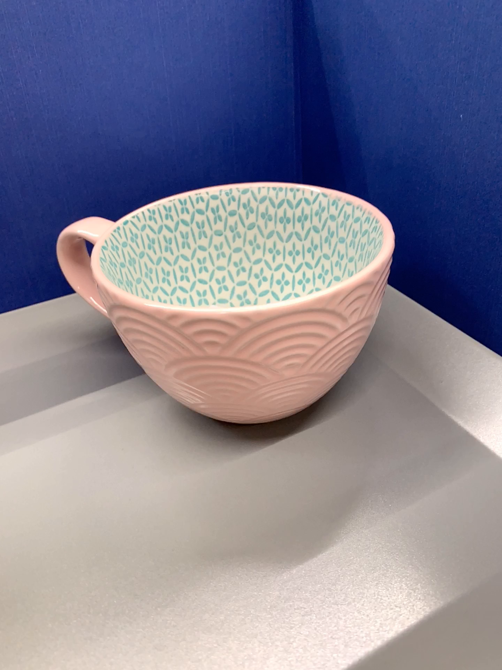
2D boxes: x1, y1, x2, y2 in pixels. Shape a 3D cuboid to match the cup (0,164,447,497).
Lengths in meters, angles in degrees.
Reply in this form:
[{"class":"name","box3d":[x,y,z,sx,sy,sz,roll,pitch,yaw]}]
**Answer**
[{"class":"cup","box3d":[-0.008,-0.017,0.229,0.150,0.064,0.105,14,45,26]}]
